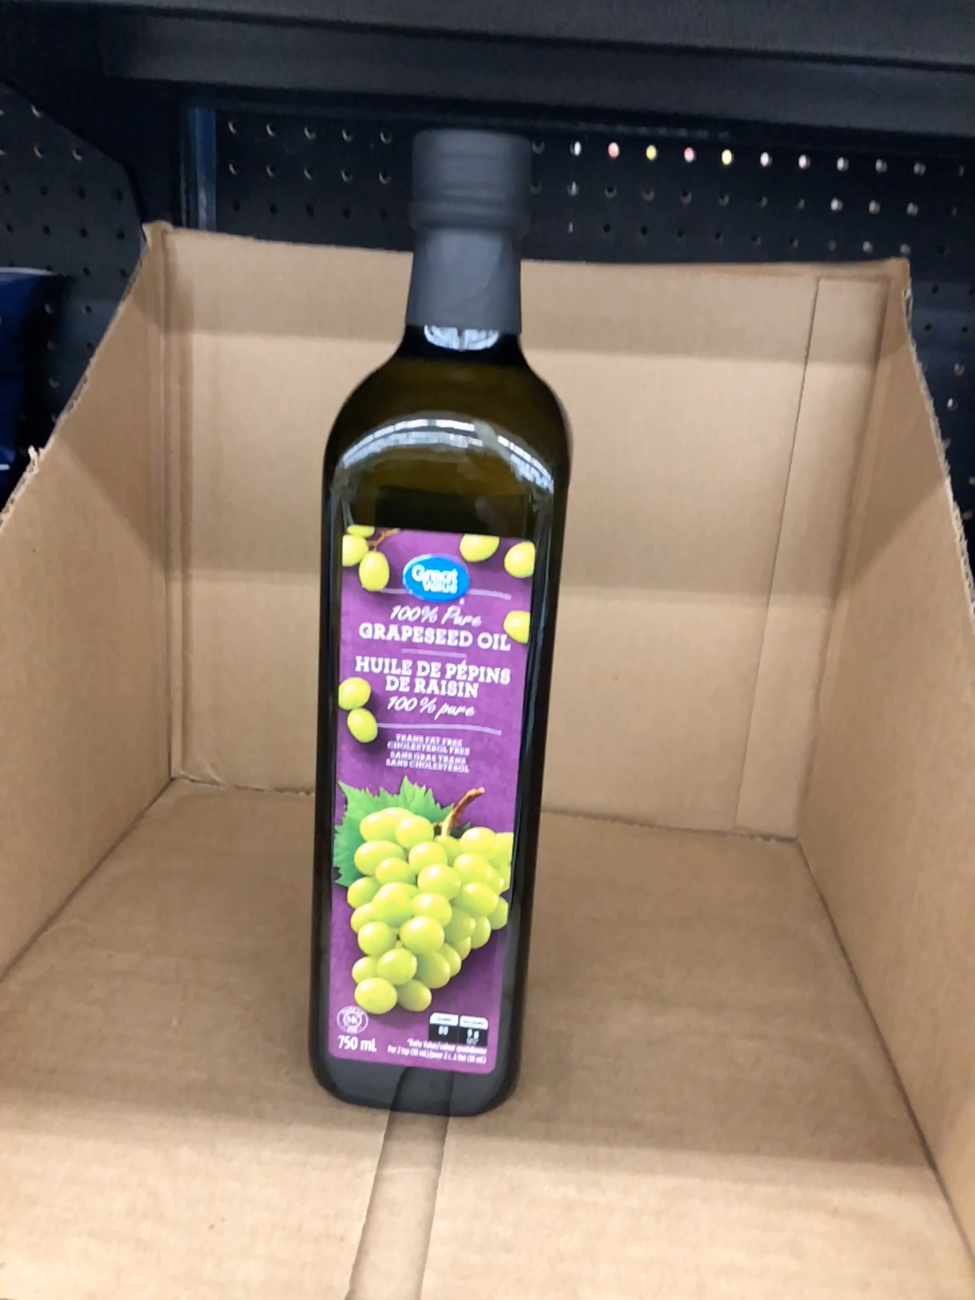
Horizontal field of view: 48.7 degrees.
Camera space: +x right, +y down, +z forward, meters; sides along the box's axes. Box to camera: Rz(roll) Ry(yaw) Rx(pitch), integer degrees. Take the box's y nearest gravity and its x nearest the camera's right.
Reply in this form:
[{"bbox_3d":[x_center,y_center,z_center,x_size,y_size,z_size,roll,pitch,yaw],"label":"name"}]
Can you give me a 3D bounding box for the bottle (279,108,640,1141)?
[{"bbox_3d":[-0.013,0.004,0.311,0.080,0.278,0.060,5,19,3],"label":"bottle"}]
